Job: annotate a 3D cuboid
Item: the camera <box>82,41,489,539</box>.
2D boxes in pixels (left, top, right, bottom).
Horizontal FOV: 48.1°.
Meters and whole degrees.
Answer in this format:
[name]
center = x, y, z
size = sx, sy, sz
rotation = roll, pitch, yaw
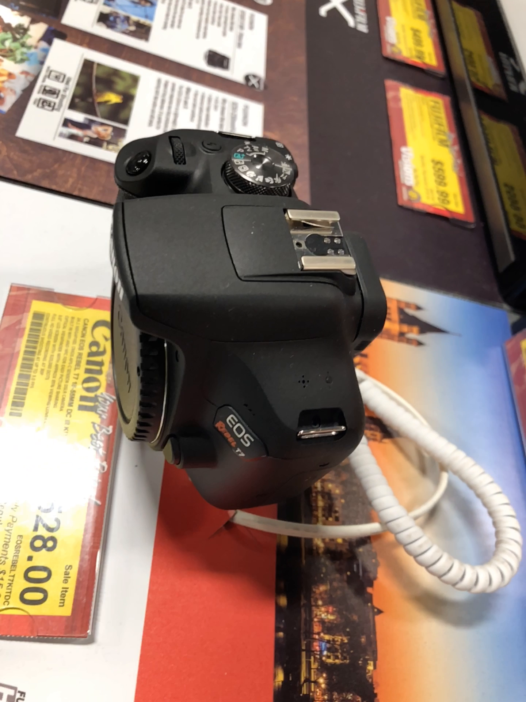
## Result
[camera]
center = -0.009, -0.017, 0.205
size = 0.090, 0.090, 0.131
rotation = -1, 61, -23
